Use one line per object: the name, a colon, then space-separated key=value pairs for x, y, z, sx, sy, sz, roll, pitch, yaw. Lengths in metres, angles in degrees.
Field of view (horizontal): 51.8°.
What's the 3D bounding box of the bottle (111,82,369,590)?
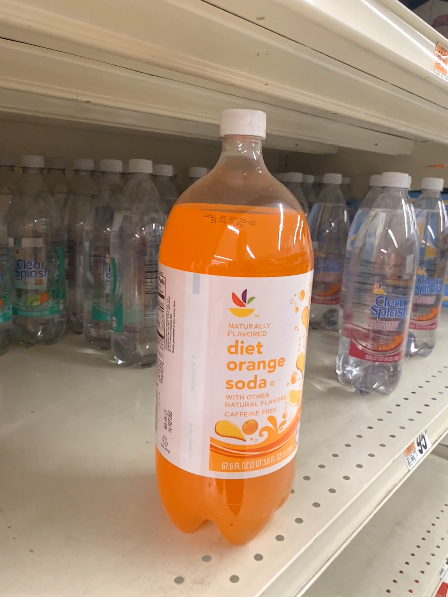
bottle: x=0.000 y=0.020 z=0.326 sx=0.120 sy=0.289 sz=0.110 roll=3 pitch=15 yaw=-1
